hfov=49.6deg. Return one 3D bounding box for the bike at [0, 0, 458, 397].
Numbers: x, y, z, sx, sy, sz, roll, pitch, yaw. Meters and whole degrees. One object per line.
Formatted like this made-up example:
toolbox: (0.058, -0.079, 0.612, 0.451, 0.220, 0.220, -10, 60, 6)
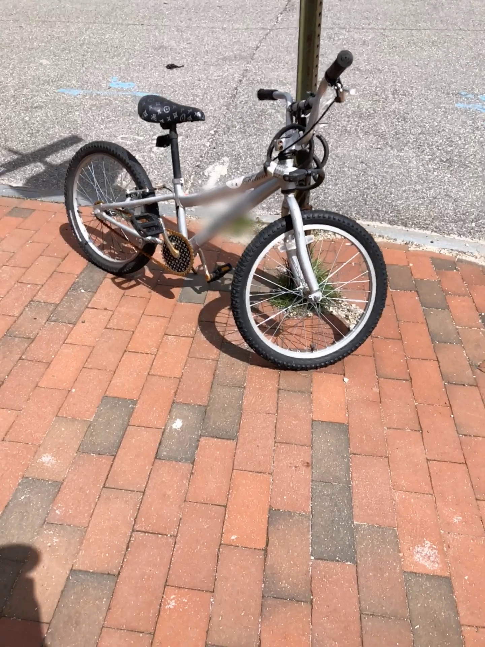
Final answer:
bike: (-0.126, -0.487, 1.681, 1.209, 0.831, 0.719, 19, 39, 21)
